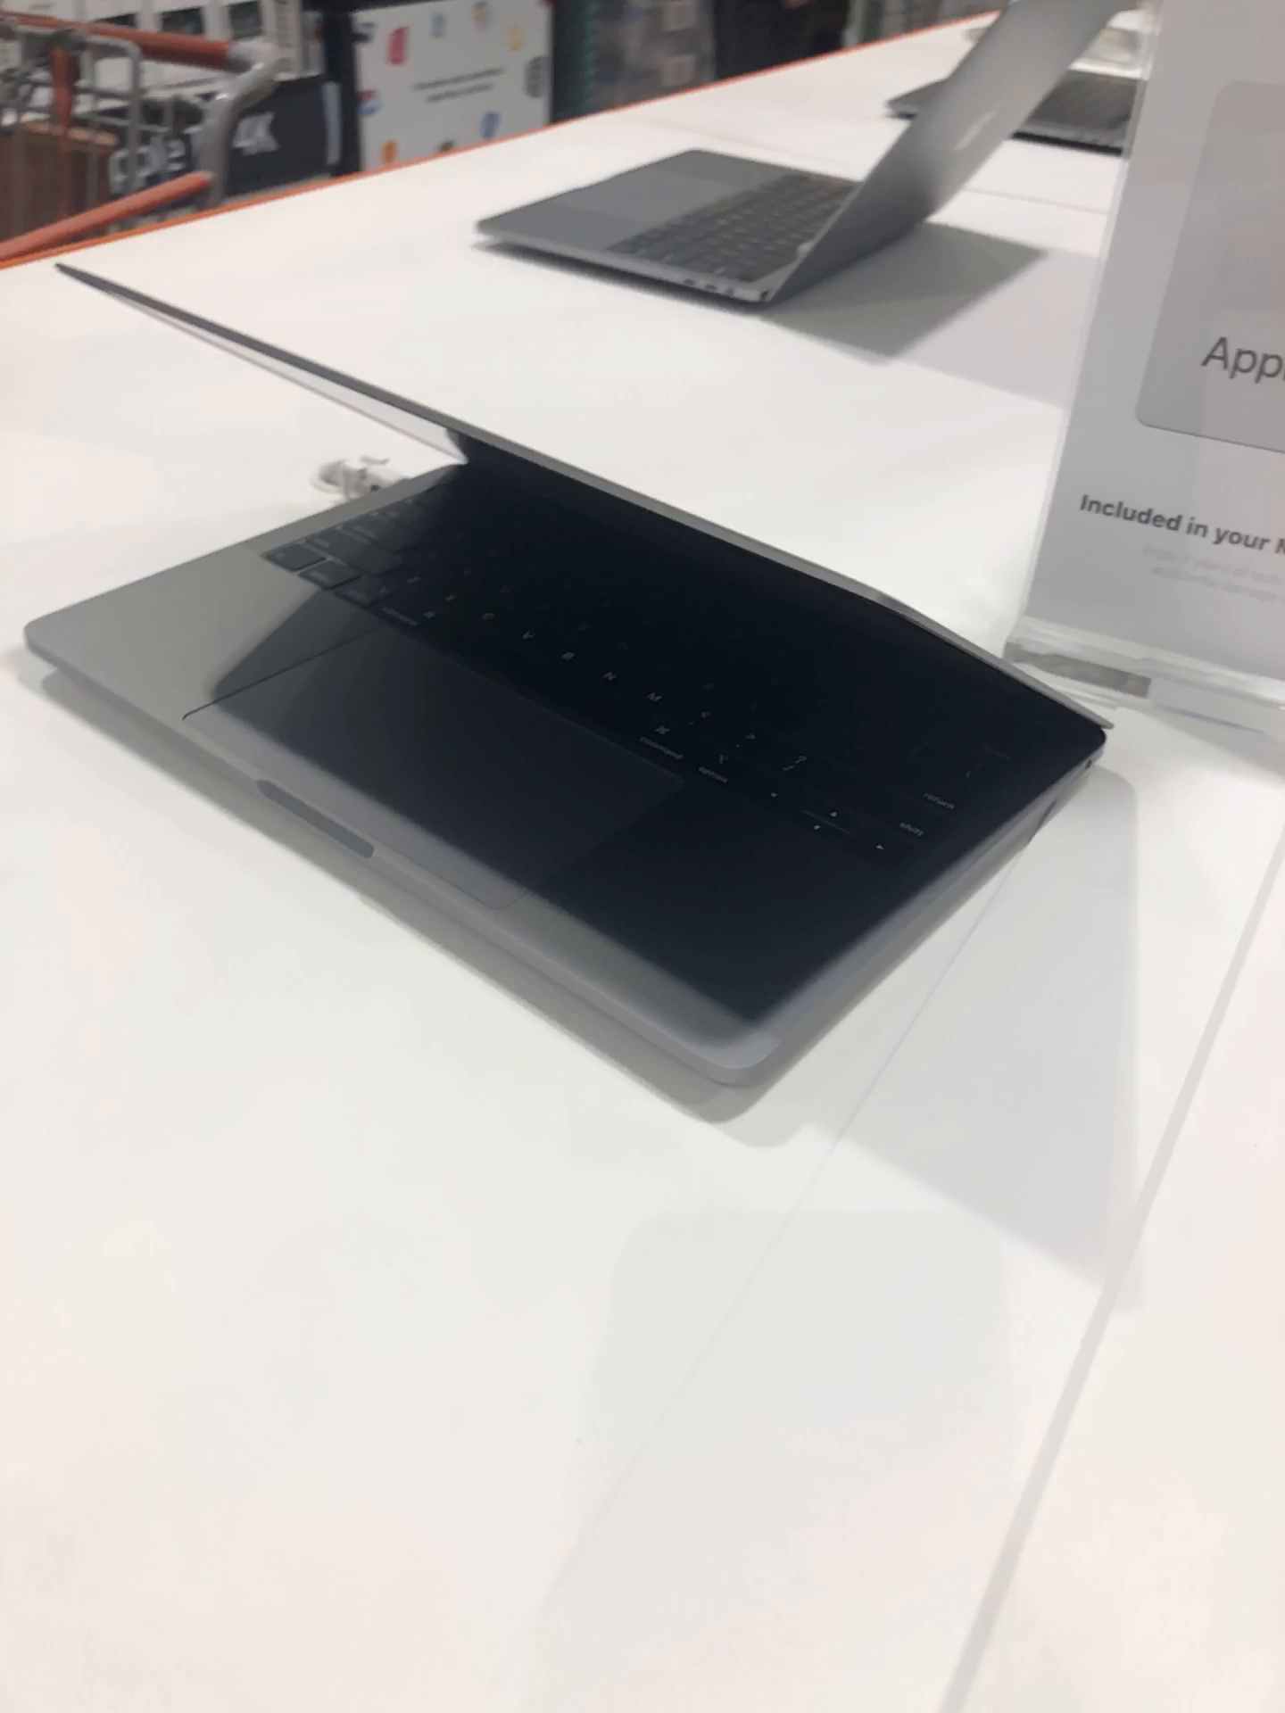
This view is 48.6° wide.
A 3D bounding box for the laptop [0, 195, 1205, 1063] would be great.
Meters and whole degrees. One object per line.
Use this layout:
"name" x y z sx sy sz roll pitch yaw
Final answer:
"laptop" -0.021 -0.102 0.445 0.295 0.109 0.204 29 44 28
